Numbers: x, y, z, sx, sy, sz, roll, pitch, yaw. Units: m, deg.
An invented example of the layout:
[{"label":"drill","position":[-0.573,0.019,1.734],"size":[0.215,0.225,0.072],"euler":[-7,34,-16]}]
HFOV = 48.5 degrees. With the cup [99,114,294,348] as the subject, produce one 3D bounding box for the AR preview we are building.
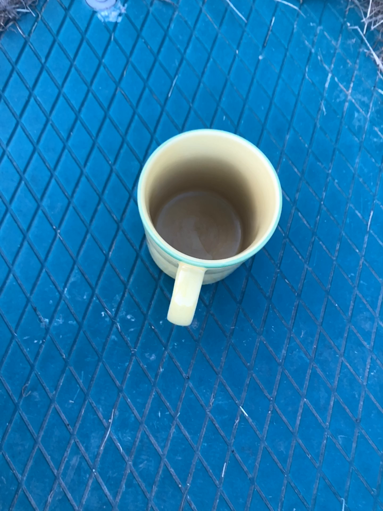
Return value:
[{"label":"cup","position":[0.003,-0.009,0.283],"size":[0.086,0.090,0.115],"euler":[14,73,-1]}]
